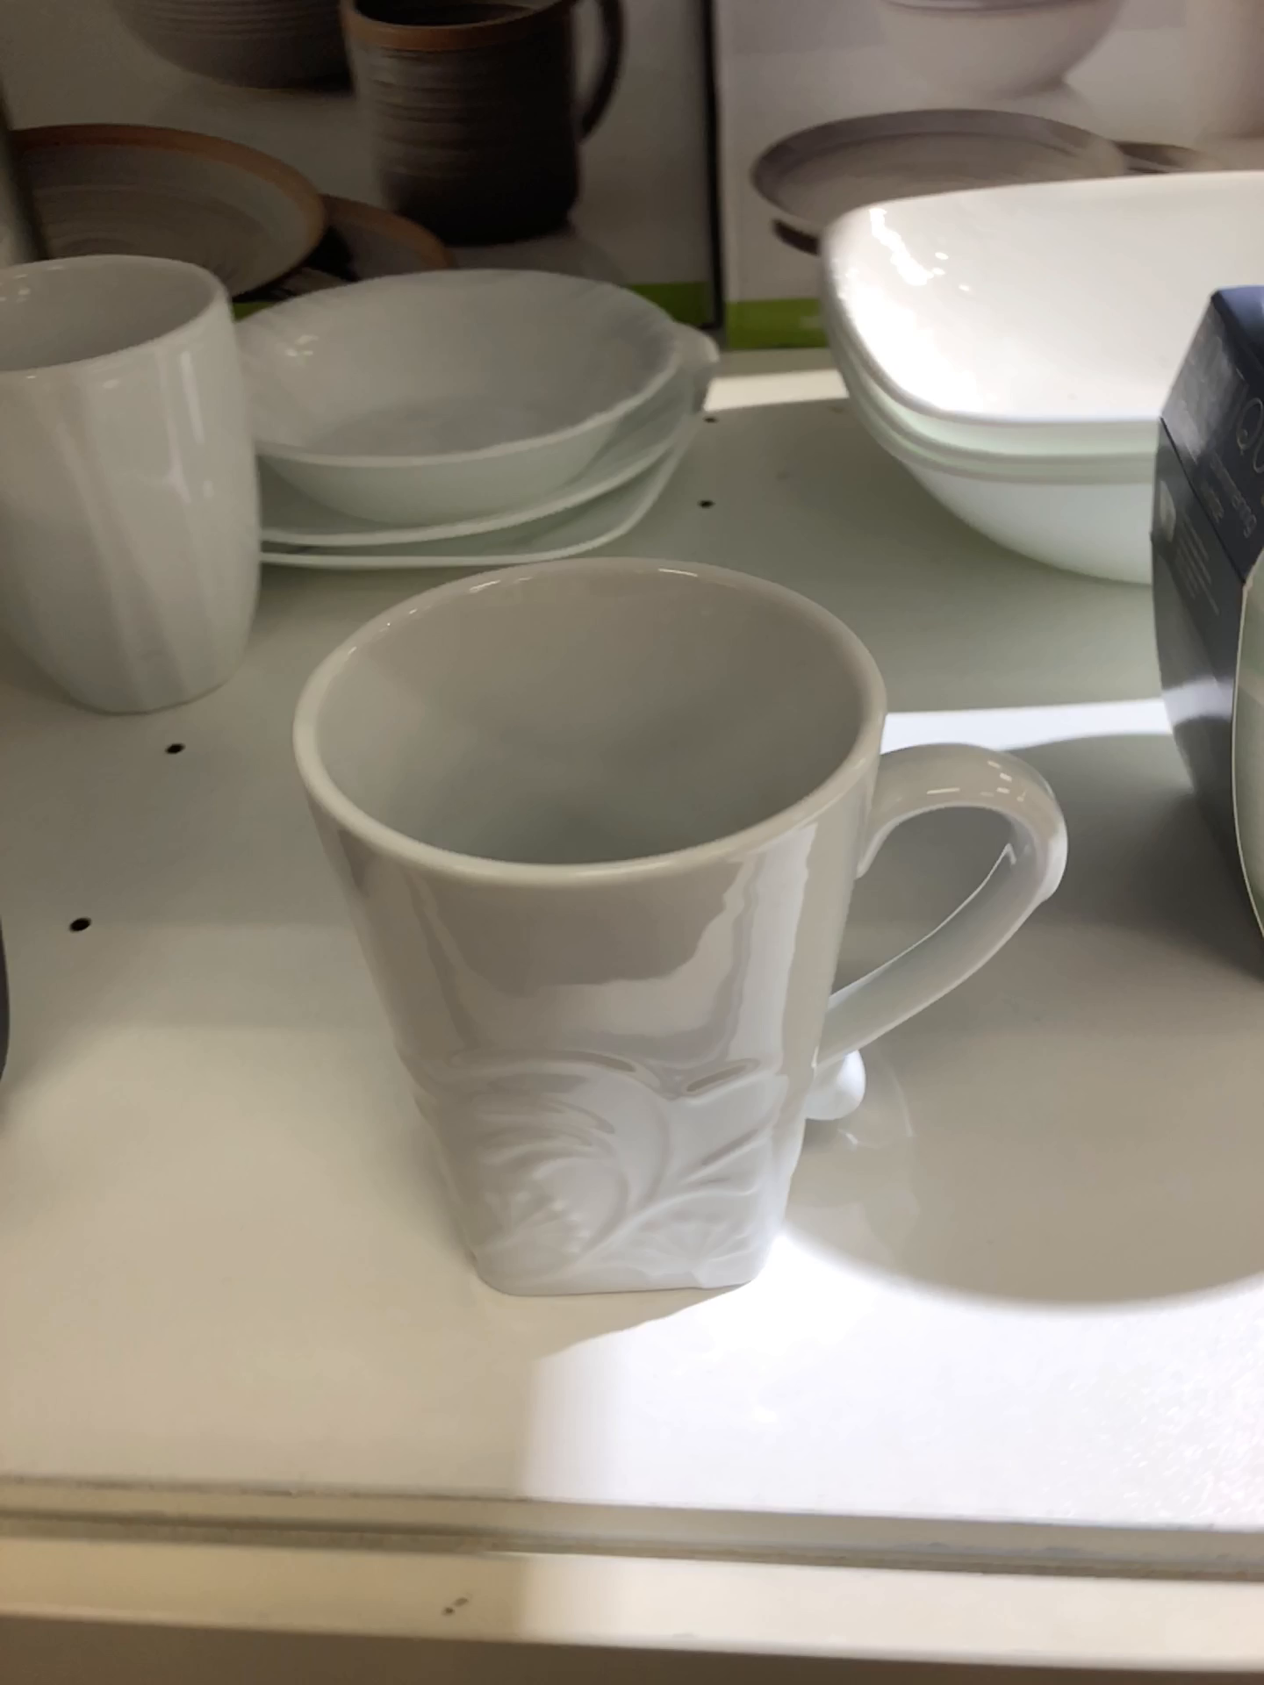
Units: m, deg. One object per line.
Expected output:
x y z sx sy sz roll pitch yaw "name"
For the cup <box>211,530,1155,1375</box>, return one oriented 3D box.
0.010 0.019 0.241 0.115 0.113 0.086 0 39 5 "cup"
